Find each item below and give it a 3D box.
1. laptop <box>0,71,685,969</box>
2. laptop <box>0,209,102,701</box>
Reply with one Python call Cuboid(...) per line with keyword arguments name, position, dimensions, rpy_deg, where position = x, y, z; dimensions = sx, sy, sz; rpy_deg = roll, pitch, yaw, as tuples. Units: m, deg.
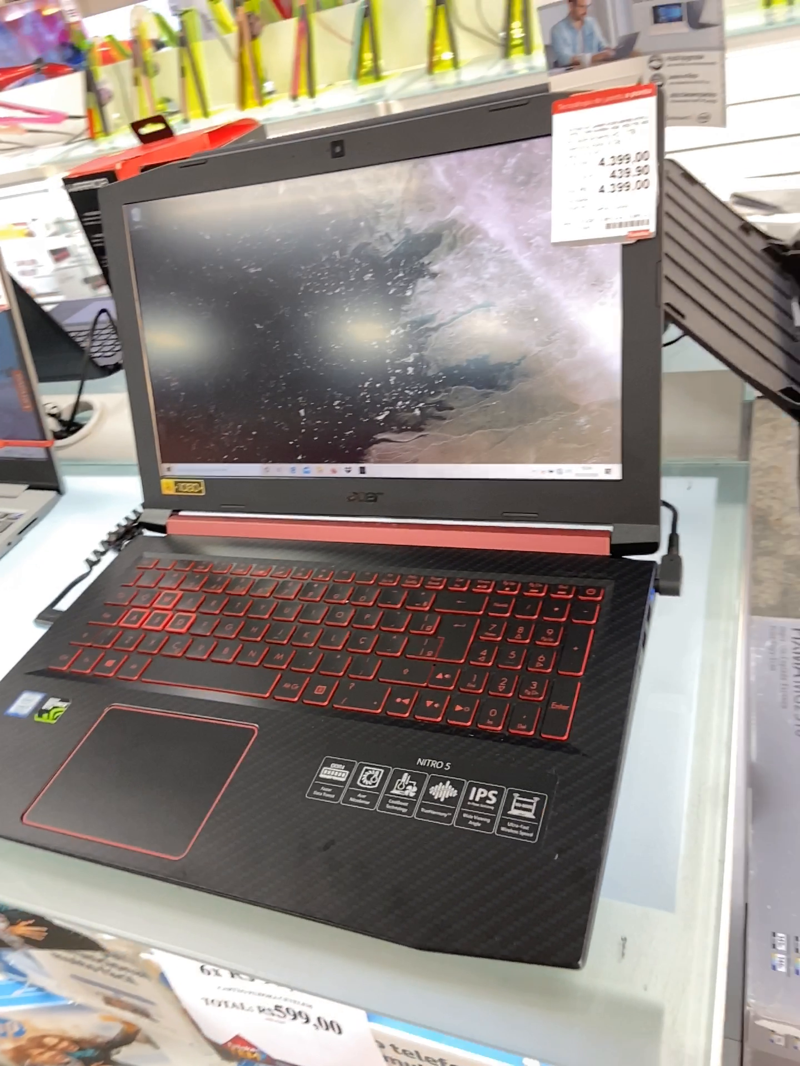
Cuboid(name="laptop", position=(-0.073, -0.046, 0.449), dimensions=(0.388, 0.218, 0.362), rpy_deg=(2, 40, 25))
Cuboid(name="laptop", position=(-0.530, -0.085, 0.689), dimensions=(0.355, 0.225, 0.324), rpy_deg=(3, 39, 23))
